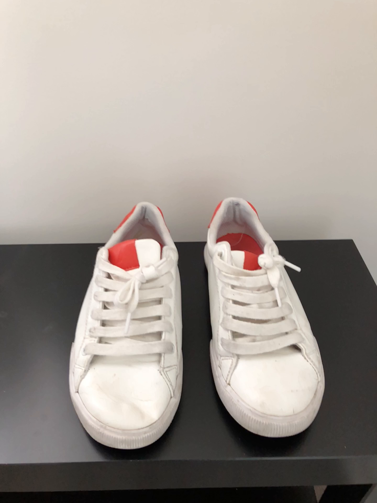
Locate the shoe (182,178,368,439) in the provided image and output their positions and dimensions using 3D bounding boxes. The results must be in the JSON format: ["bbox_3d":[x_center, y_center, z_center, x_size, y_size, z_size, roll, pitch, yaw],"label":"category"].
[{"bbox_3d":[0.053,0.031,0.372,0.100,0.080,0.231,-3,41,-4],"label":"shoe"}]

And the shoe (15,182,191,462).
[{"bbox_3d":[-0.060,0.038,0.359,0.102,0.080,0.236,-3,41,-4],"label":"shoe"}]
